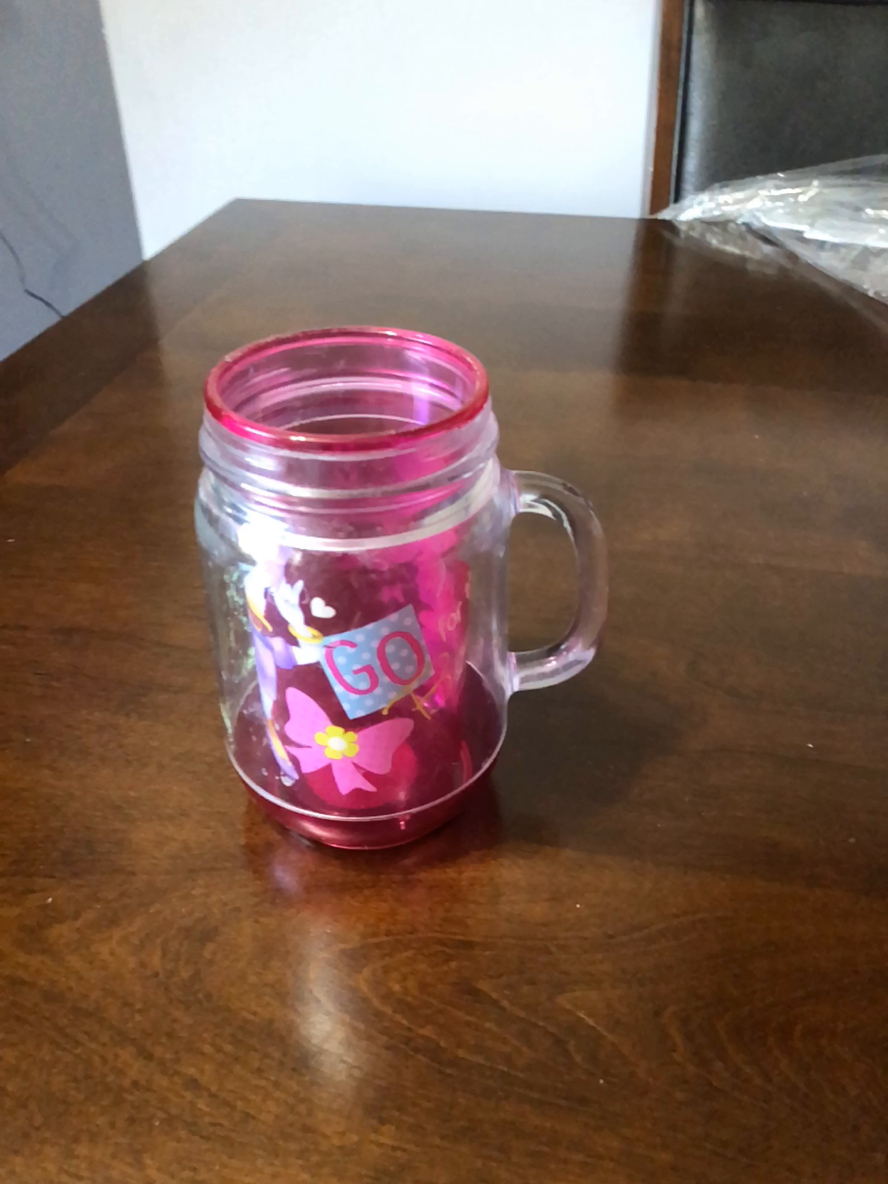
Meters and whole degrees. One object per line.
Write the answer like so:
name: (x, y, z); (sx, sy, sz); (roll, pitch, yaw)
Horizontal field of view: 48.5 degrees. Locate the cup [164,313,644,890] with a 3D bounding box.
cup: (-0.014, 0.004, 0.322); (0.120, 0.159, 0.080); (-6, 35, -8)
